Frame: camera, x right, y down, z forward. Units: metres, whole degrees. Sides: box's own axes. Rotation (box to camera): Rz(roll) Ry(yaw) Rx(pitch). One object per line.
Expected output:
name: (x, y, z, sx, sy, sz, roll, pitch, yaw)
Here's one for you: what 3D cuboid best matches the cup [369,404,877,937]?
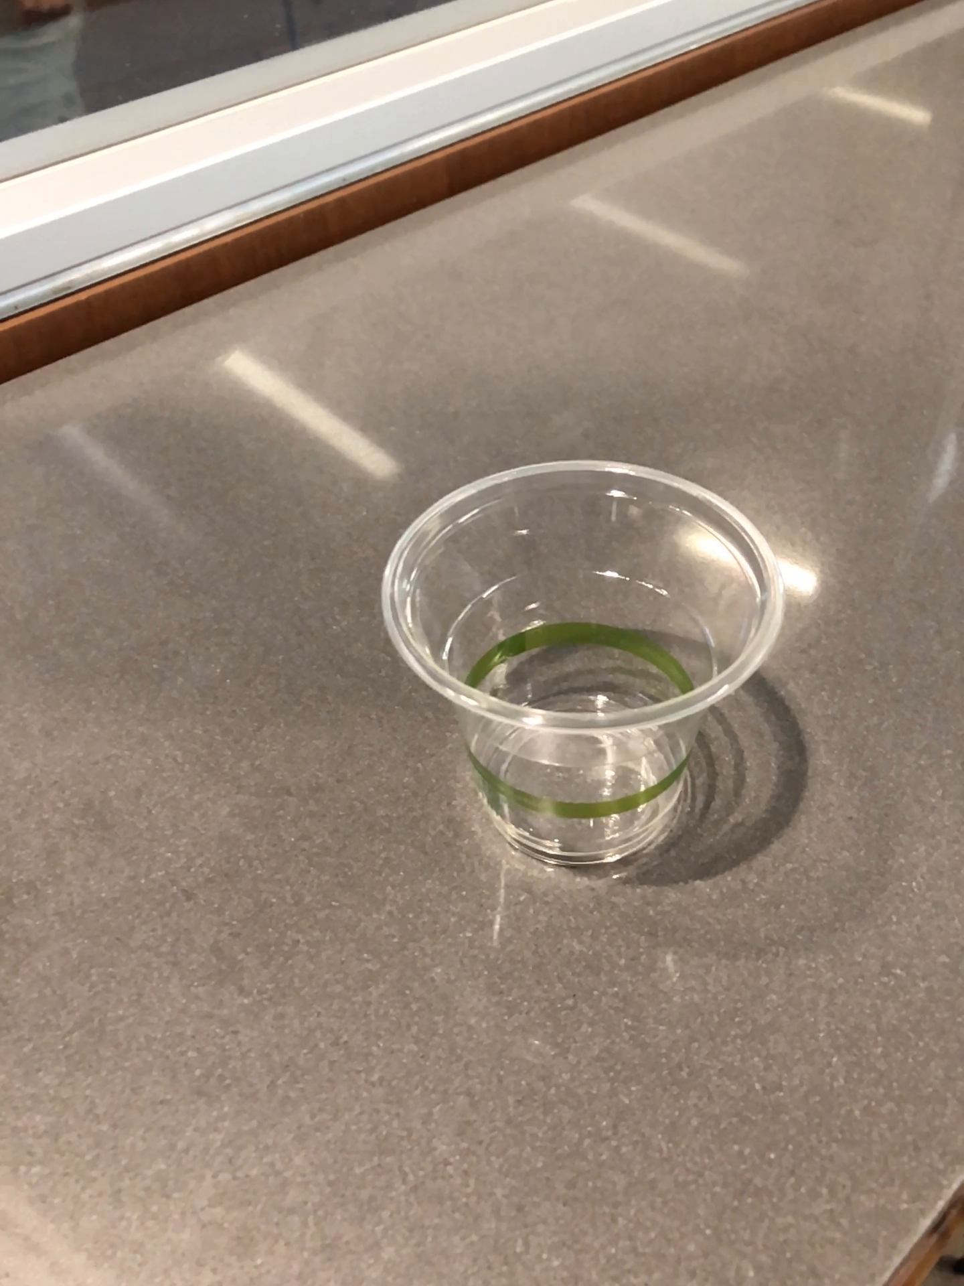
cup: (0.023, 0.003, 0.214, 0.070, 0.060, 0.070, -3, 44, 3)
